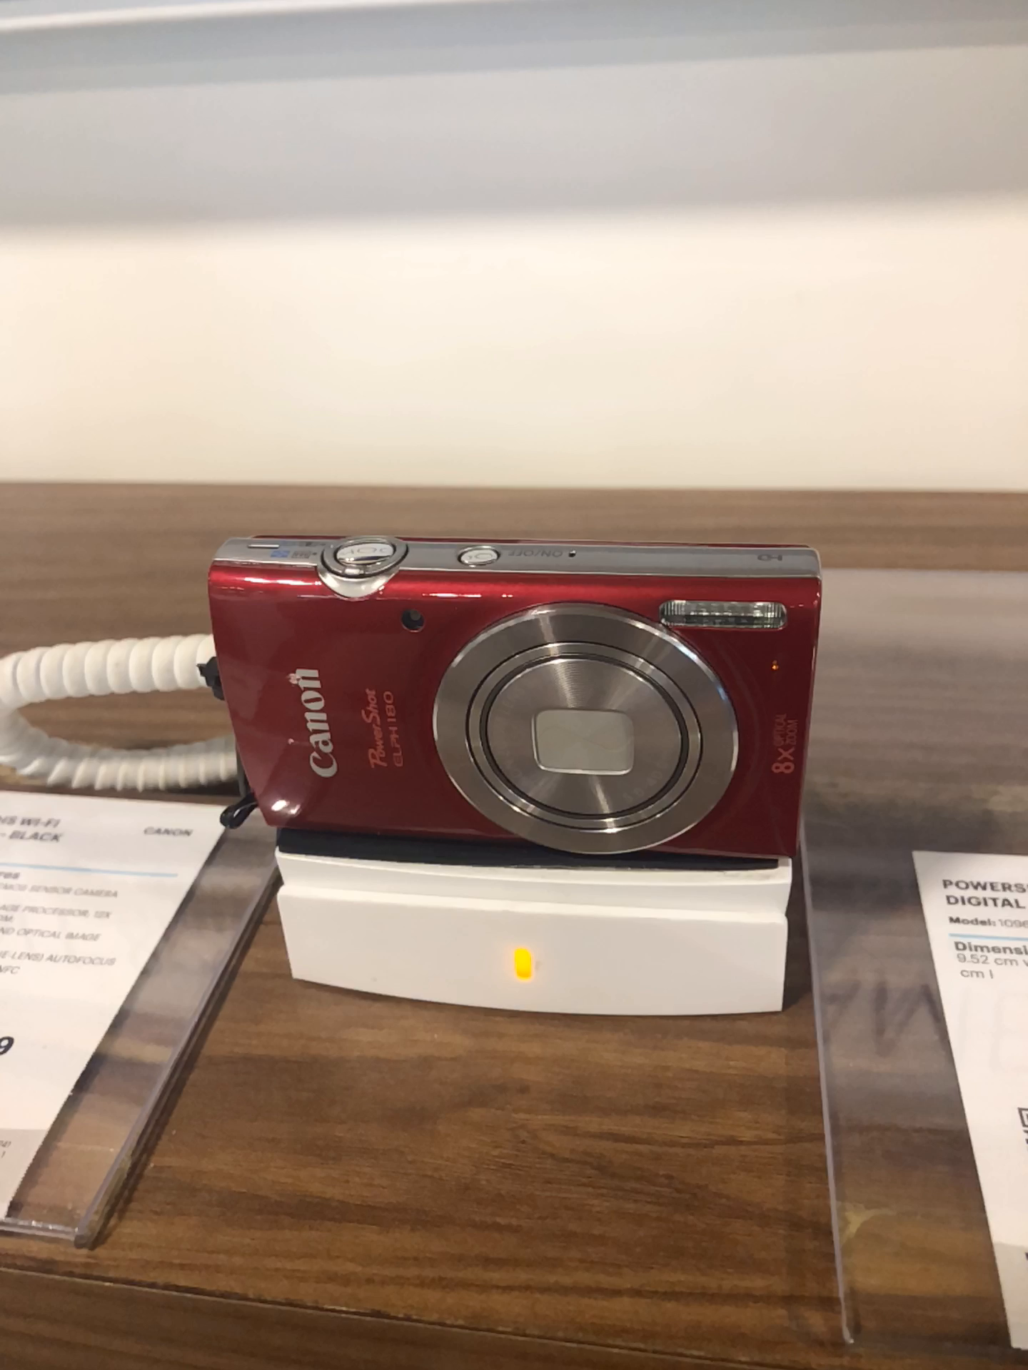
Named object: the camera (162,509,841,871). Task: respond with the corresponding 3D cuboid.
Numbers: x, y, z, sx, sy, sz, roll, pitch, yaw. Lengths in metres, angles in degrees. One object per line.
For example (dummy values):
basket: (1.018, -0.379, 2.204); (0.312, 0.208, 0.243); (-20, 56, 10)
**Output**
camera: (-0.001, 0.000, 0.186); (0.097, 0.051, 0.023); (2, 37, 10)
